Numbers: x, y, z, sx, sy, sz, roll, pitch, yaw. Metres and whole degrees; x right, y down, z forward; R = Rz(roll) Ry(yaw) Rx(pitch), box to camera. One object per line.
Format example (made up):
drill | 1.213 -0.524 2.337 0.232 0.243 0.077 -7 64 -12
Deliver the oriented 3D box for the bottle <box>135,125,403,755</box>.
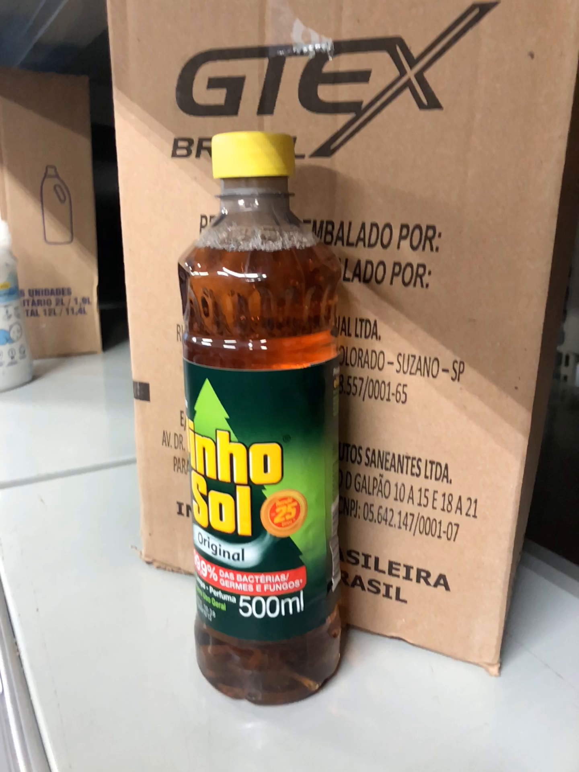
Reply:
bottle | -0.004 0.020 0.251 0.070 0.219 0.060 9 20 30
